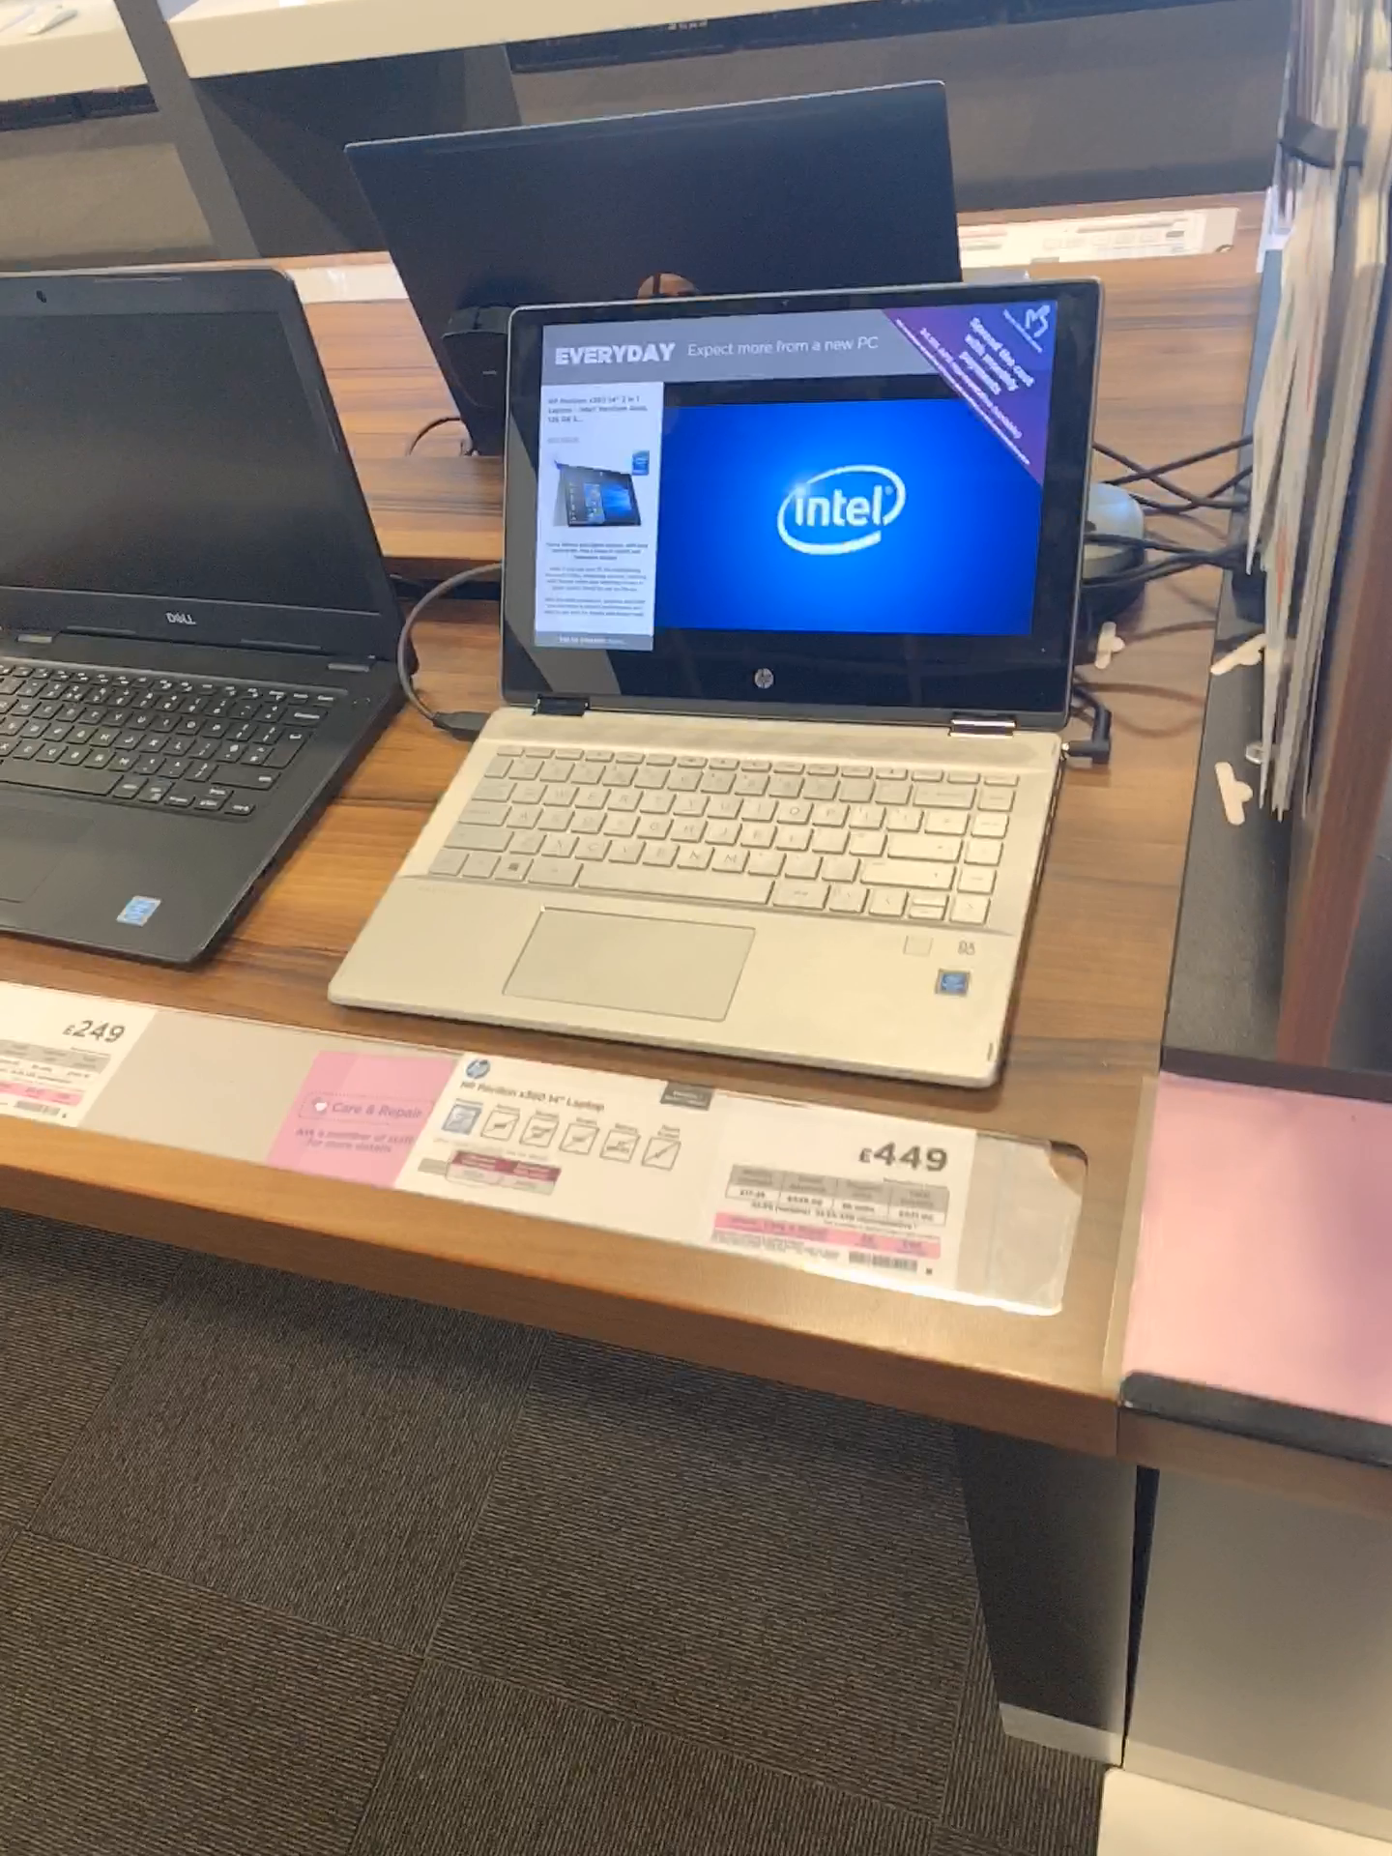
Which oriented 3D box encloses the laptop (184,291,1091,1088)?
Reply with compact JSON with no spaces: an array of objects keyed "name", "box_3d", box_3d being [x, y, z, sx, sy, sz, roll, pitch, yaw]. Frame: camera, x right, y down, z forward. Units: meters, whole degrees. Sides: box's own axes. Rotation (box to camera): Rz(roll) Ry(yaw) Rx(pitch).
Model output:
[{"name":"laptop","box_3d":[0.007,-0.136,0.683,0.313,0.154,0.363,5,49,20]}]
